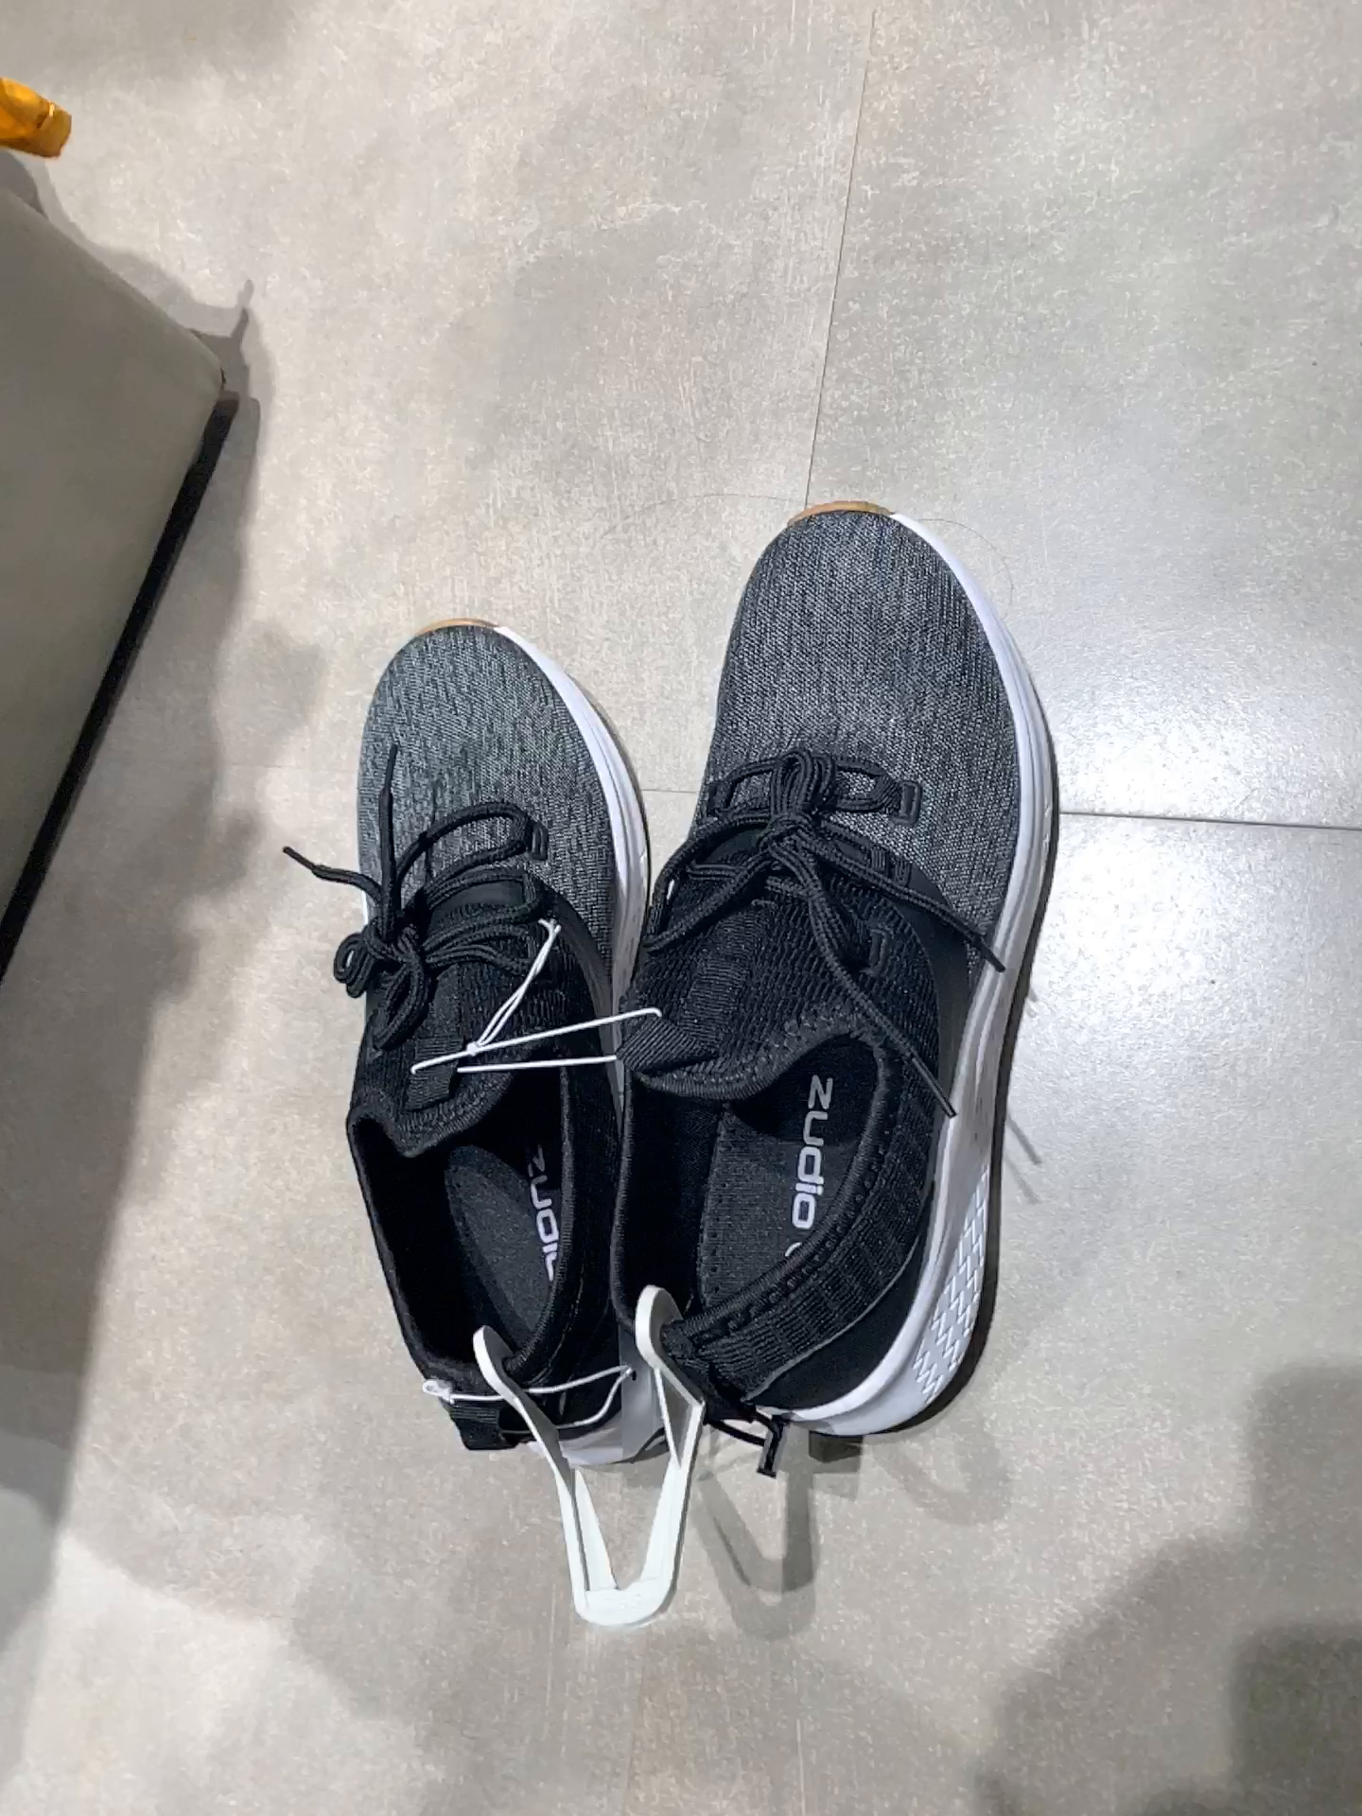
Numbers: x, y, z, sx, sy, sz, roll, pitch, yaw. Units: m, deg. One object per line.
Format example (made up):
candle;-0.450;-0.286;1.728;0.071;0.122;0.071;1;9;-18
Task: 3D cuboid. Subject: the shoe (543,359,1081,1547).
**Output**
shoe;0.045;0.009;0.388;0.108;0.096;0.278;1;81;23

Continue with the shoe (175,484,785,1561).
shoe;-0.064;0.032;0.426;0.106;0.096;0.278;-17;74;19
